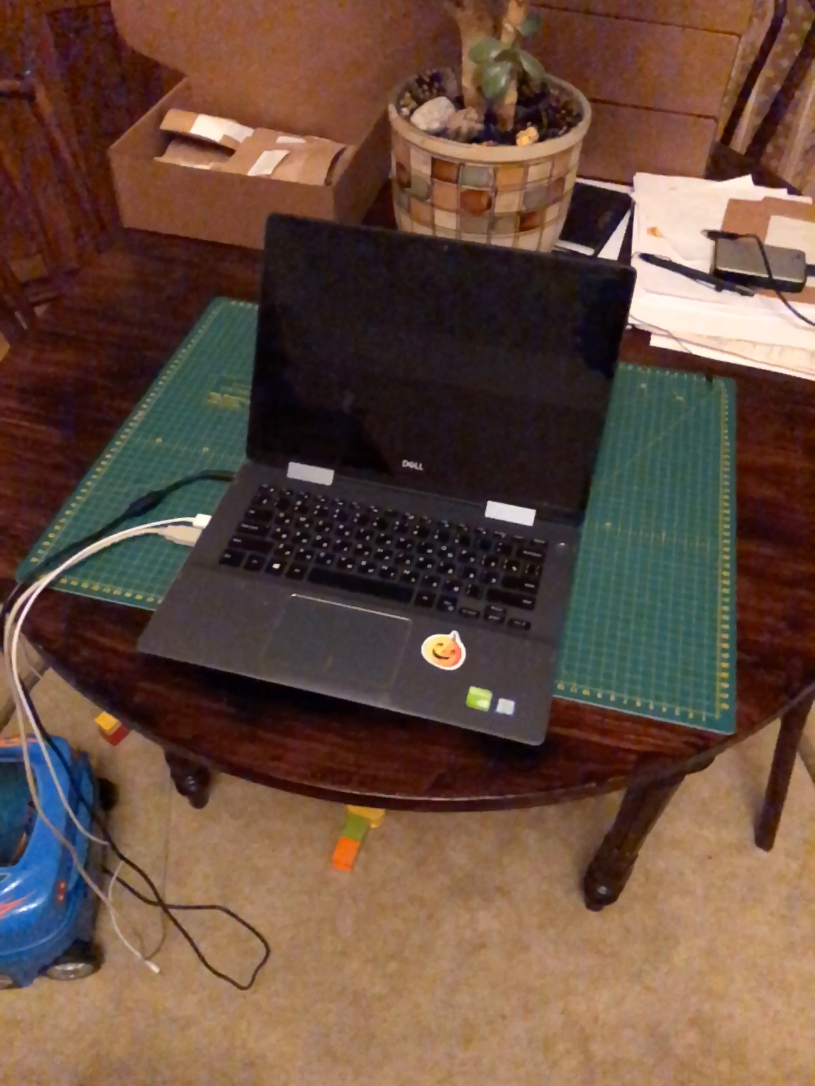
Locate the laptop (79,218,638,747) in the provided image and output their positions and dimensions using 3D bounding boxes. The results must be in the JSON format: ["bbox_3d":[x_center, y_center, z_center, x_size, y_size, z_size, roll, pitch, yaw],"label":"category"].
[{"bbox_3d":[-0.010,-0.068,0.721,0.320,0.192,0.339,12,48,9],"label":"laptop"}]
